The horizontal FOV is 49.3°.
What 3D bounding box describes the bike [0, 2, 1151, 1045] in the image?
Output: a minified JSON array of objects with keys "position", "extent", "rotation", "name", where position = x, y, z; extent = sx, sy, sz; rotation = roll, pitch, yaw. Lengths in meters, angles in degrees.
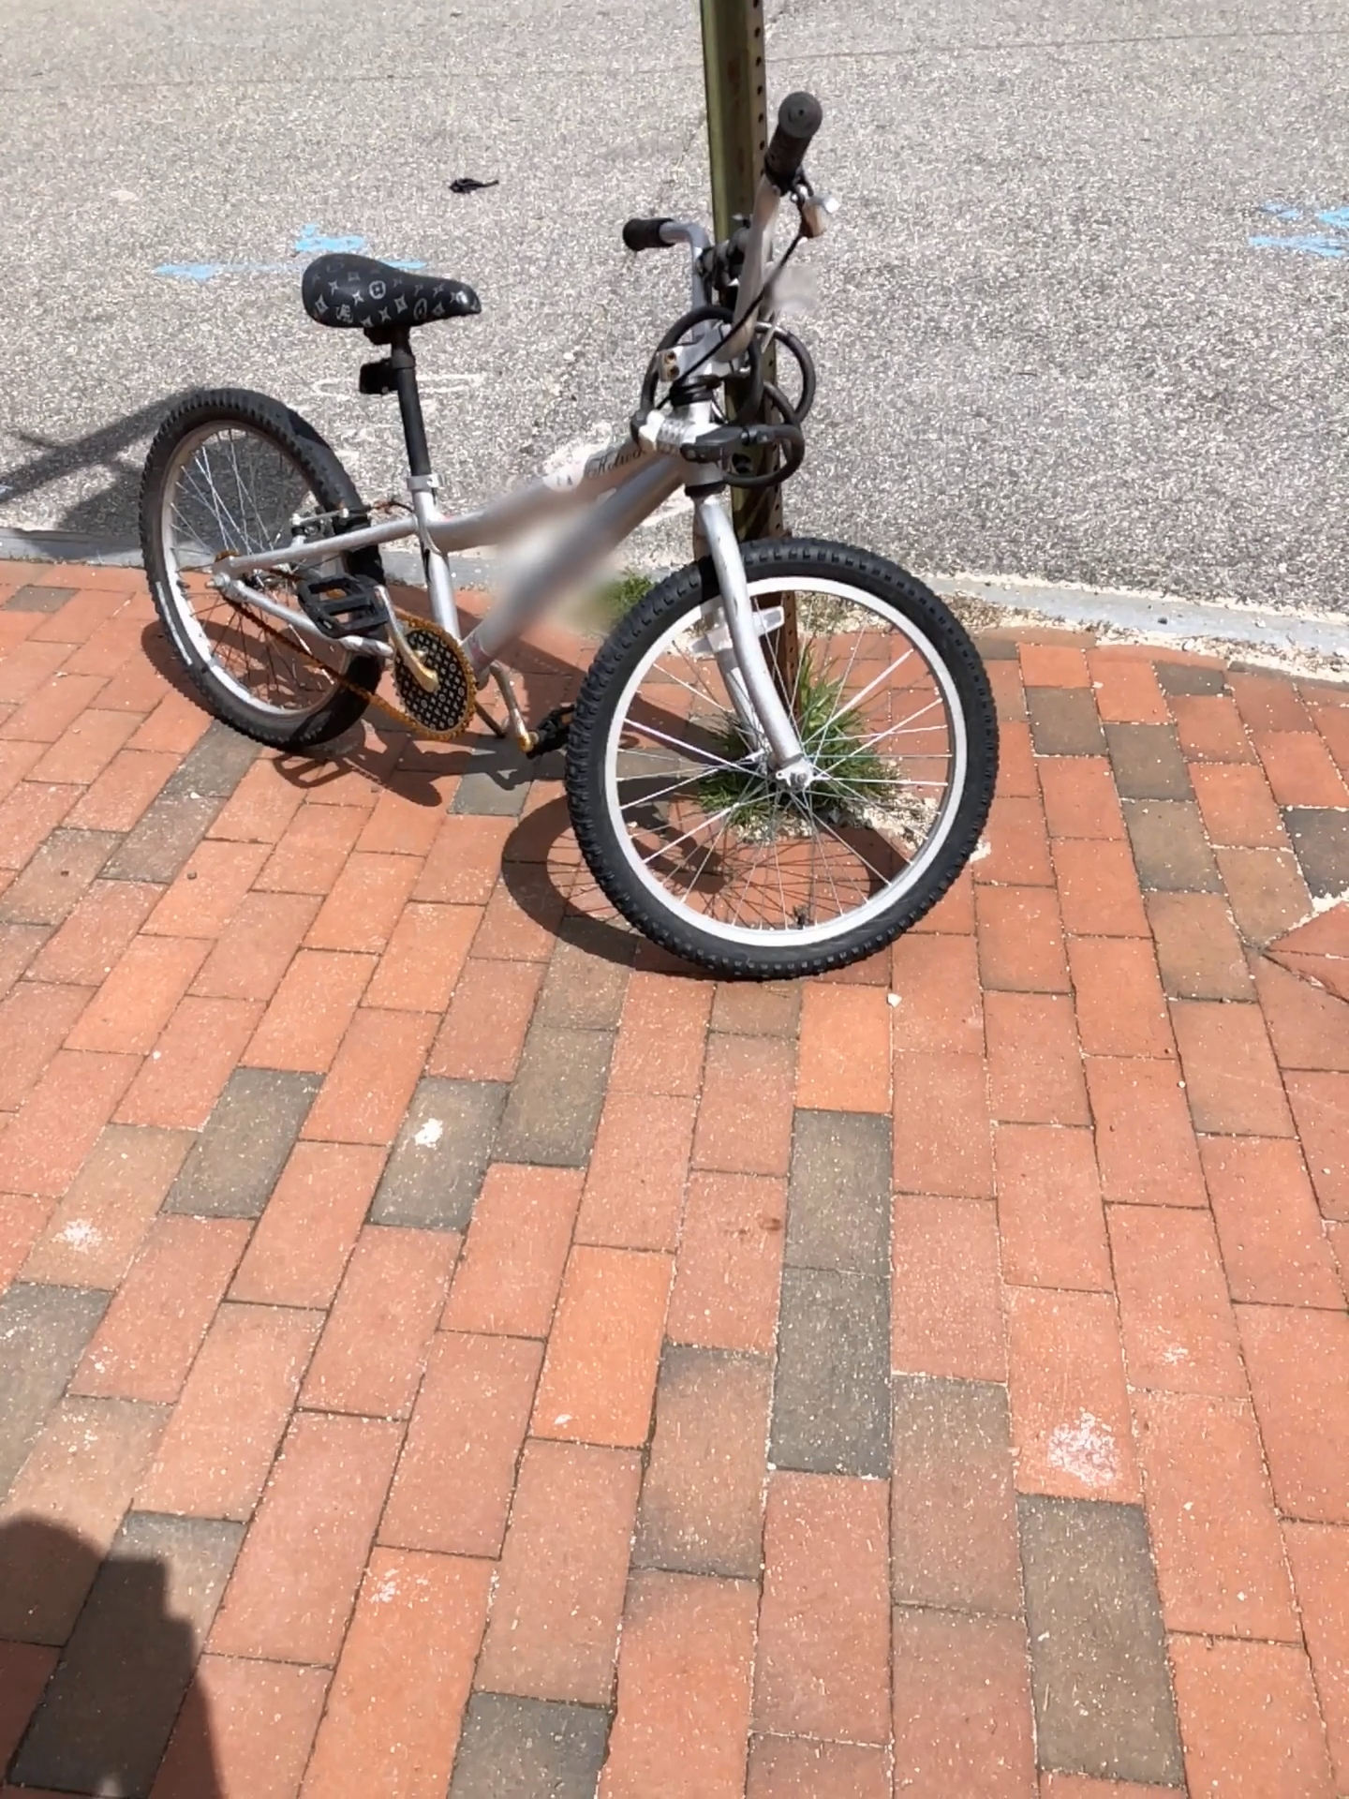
[{"position":[-0.220,-0.529,1.729],"extent":[1.209,0.831,0.719],"rotation":[16,40,24],"name":"bike"}]
